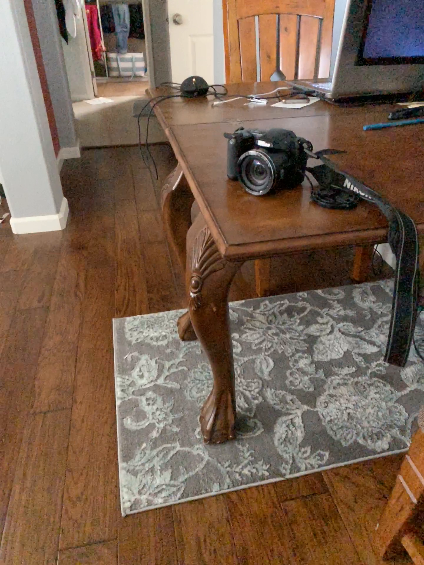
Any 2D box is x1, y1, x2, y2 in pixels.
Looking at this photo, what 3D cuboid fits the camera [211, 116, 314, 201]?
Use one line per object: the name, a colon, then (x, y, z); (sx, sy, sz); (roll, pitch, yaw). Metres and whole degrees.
camera: (0.070, -0.181, 0.620); (0.110, 0.079, 0.090); (25, 40, 33)
